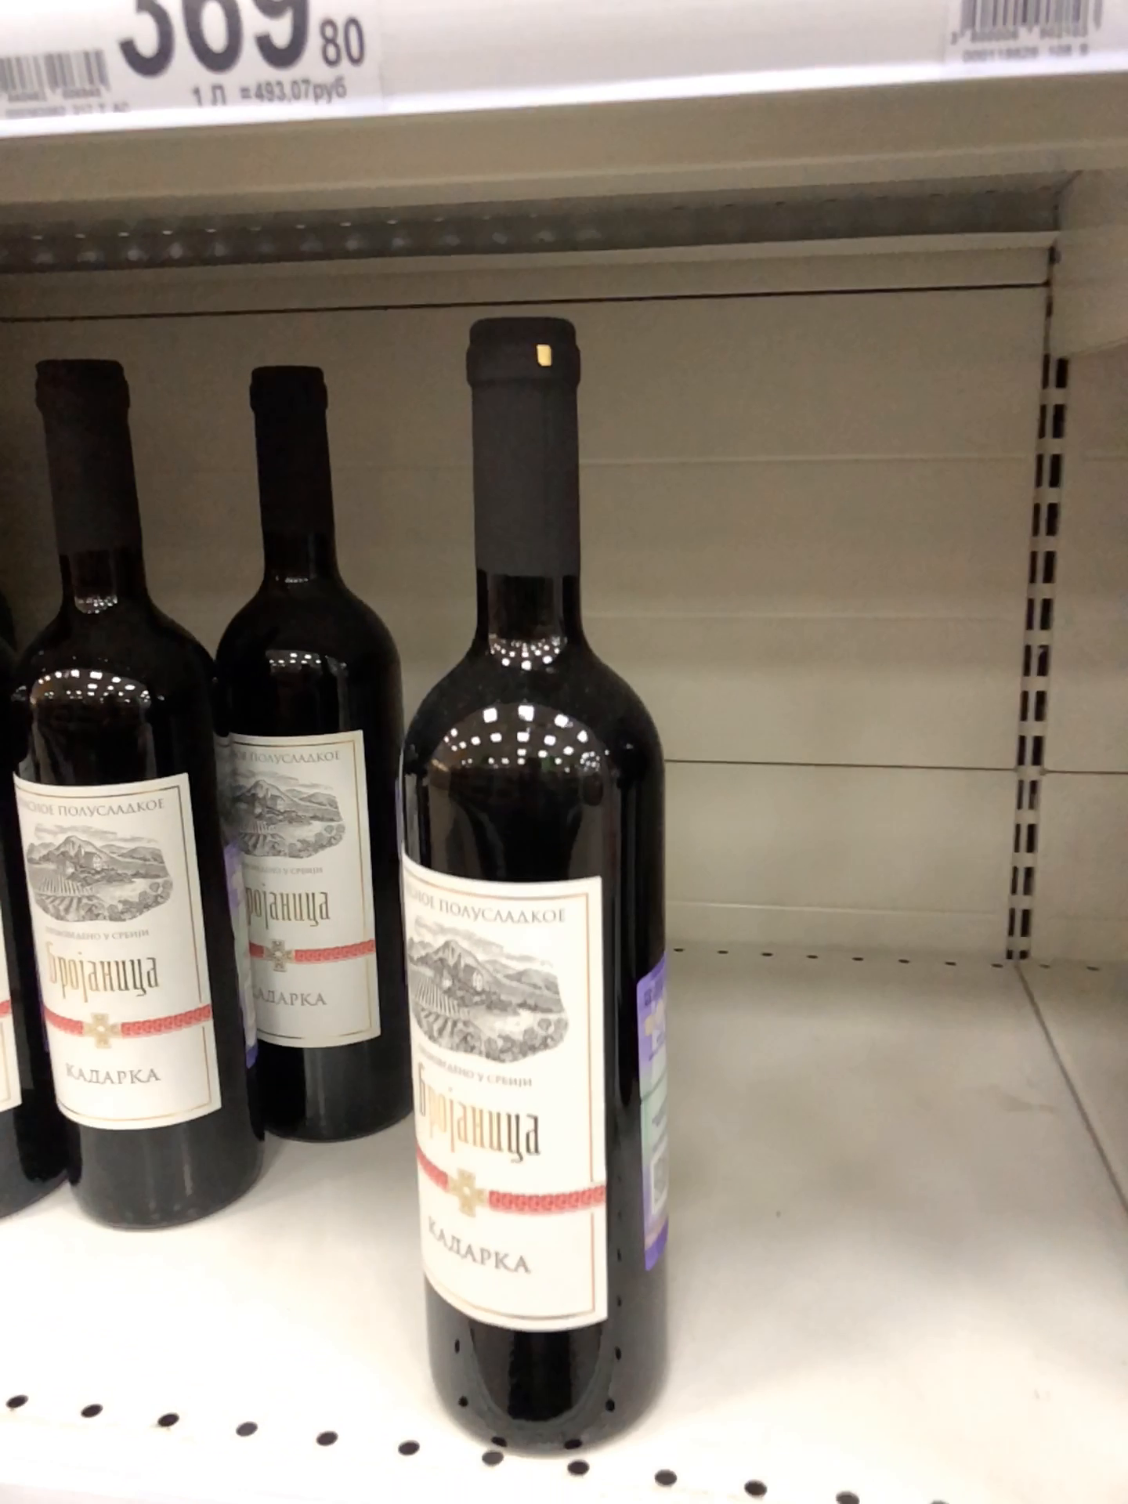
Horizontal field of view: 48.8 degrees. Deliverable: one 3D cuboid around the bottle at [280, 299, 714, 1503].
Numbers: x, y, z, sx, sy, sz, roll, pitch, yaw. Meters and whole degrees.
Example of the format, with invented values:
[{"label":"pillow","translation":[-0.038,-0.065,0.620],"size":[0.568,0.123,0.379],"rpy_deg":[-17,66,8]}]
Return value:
[{"label":"bottle","translation":[-0.012,0.040,0.355],"size":[0.080,0.309,0.080],"rpy_deg":[-1,13,0]}]
